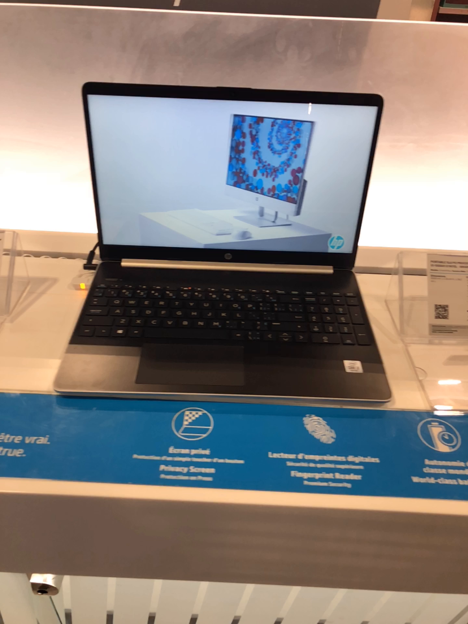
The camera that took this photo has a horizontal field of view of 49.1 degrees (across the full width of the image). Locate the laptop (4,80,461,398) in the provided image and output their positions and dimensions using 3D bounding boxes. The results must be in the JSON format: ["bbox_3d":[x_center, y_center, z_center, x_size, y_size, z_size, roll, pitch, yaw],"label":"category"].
[{"bbox_3d":[-0.003,-0.093,0.576,0.355,0.221,0.284,2,39,-1],"label":"laptop"}]
